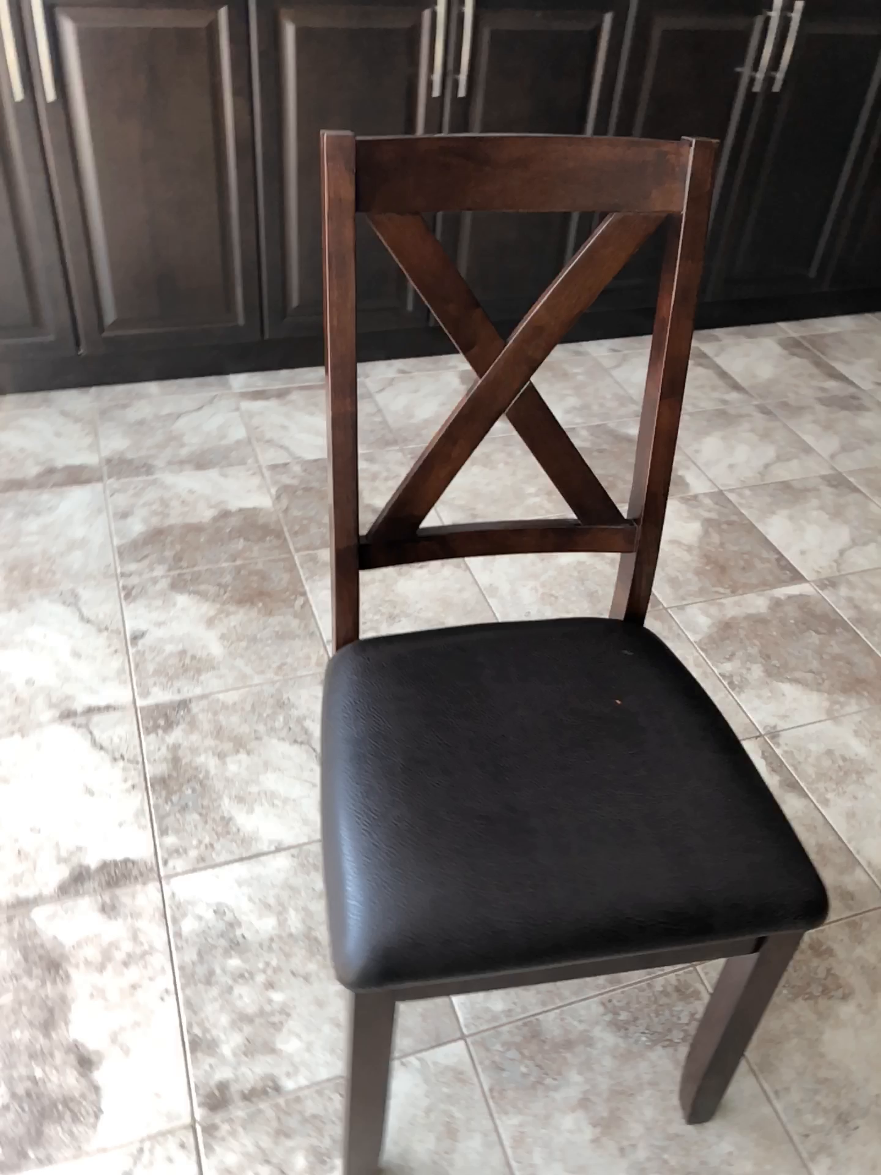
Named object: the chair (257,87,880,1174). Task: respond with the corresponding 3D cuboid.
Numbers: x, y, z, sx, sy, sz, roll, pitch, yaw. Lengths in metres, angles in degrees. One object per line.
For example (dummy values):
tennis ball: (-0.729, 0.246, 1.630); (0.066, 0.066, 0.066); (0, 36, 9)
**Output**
chair: (0.090, 0.087, 0.991); (0.480, 0.936, 0.602); (-3, 40, -10)
